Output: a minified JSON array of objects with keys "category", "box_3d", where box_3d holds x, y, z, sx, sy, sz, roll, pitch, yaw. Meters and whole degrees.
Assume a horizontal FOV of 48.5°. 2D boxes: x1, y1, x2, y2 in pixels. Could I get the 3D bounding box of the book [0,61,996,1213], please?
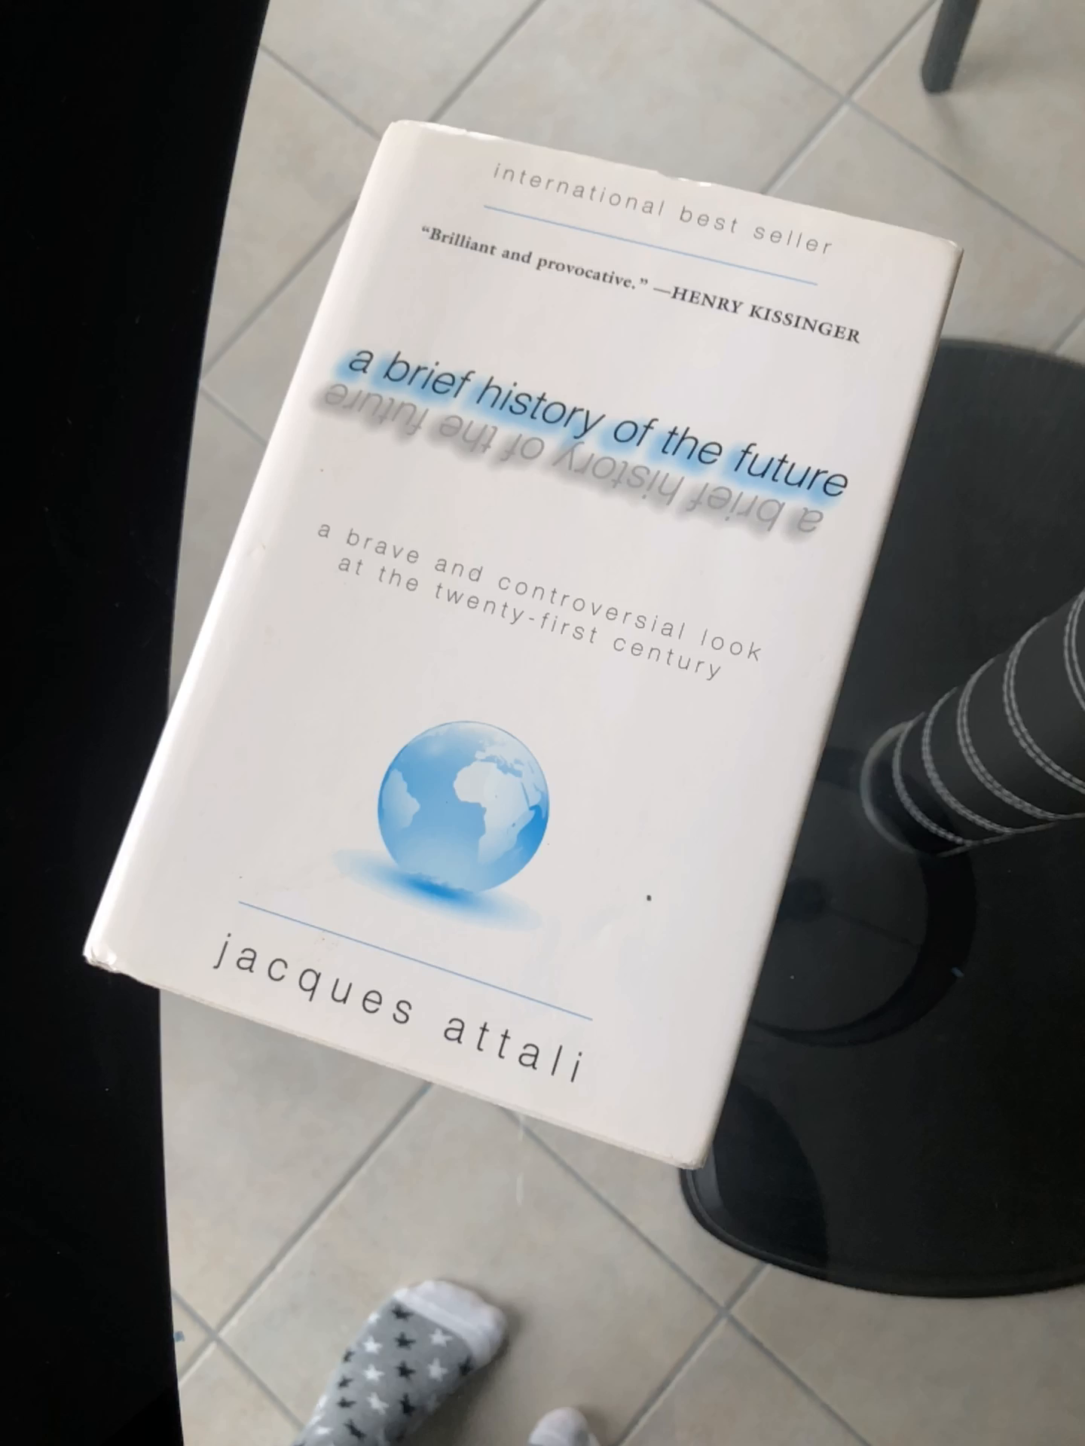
[{"category":"book","box_3d":[-0.007,-0.026,0.270,0.150,0.040,0.210,18,83,8]}]
